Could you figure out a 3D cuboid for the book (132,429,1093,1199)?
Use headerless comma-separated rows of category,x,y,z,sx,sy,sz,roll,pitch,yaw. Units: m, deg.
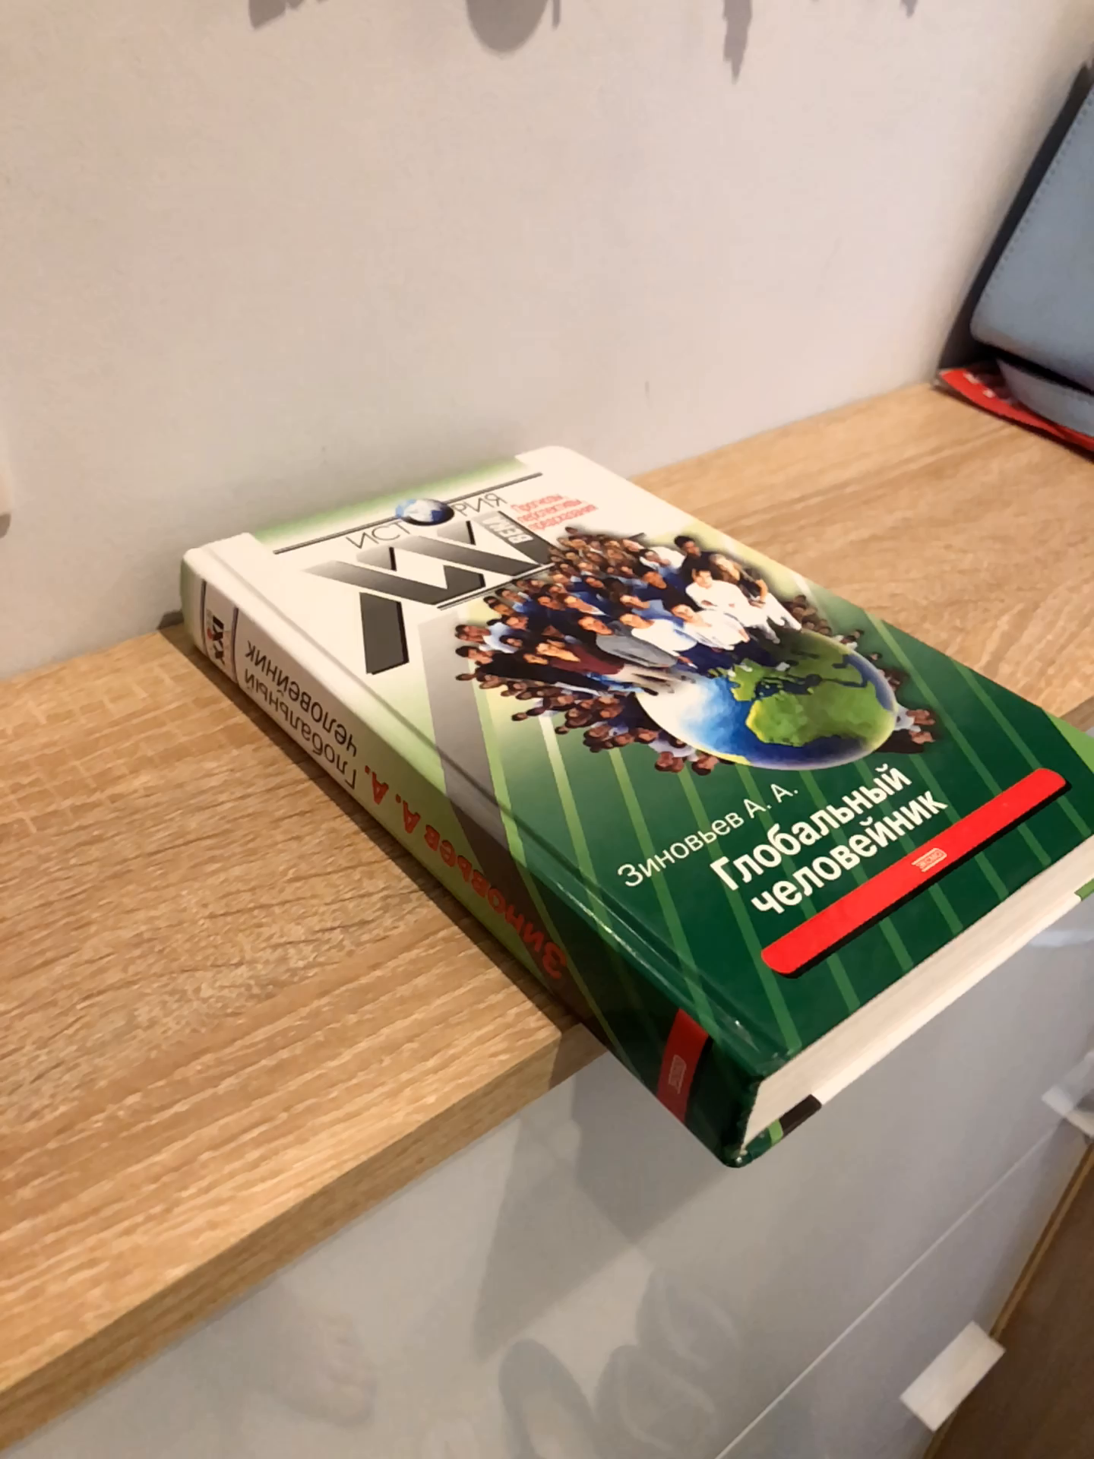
book,0.016,-0.011,0.292,0.141,0.020,0.221,-24,45,-33
